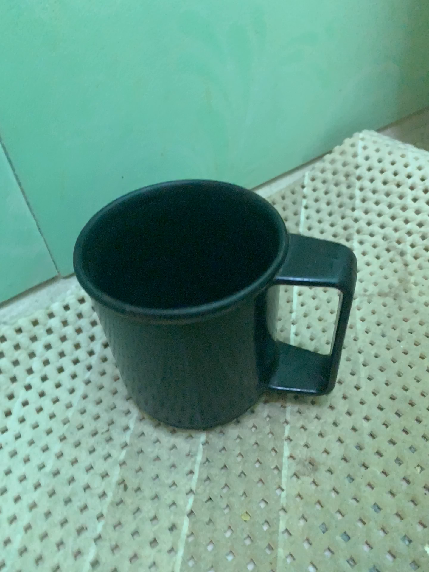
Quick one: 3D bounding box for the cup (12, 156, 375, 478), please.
[{"bbox_3d":[0.002,0.007,0.192,0.111,0.082,0.090,8,45,15],"label":"cup"}]
